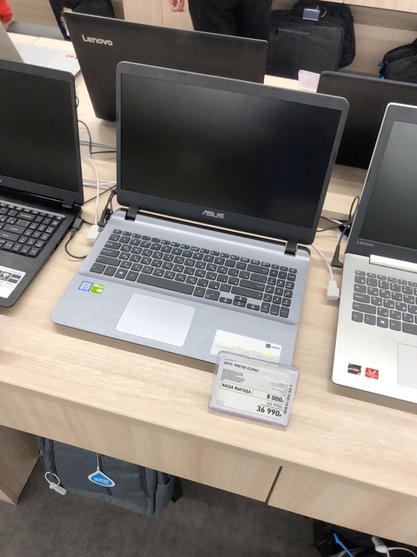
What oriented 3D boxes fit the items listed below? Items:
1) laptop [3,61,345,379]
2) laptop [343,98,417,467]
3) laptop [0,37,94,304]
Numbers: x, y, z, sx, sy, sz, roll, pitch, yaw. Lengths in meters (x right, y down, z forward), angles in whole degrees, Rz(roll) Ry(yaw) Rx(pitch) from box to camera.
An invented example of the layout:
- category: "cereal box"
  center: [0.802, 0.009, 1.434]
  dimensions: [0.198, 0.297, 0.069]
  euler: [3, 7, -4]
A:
- category: "laptop"
  center: [-0.018, -0.099, 0.662]
  dimensions: [0.345, 0.226, 0.330]
  euler: [13, 51, 8]
- category: "laptop"
  center: [0.394, -0.013, 0.613]
  dimensions: [0.370, 0.220, 0.333]
  euler: [12, 52, 7]
- category: "laptop"
  center: [-0.419, -0.178, 0.719]
  dimensions: [0.332, 0.222, 0.292]
  euler: [14, 50, 9]
